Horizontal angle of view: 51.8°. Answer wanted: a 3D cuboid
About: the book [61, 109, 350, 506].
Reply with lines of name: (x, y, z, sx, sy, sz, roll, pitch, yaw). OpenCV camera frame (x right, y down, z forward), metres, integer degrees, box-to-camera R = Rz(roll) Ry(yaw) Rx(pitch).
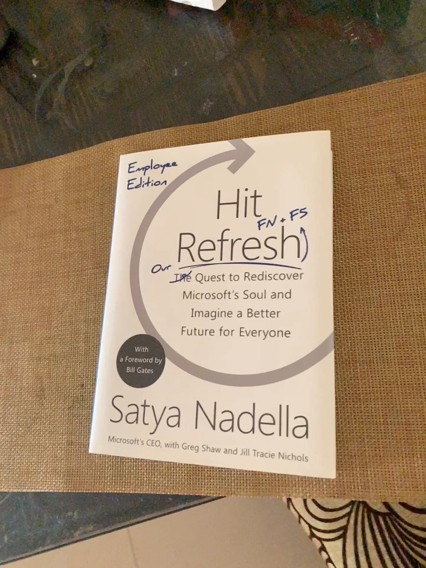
book: (0.000, 0.006, 0.320, 0.190, 0.040, 0.250, 0, 76, 18)
